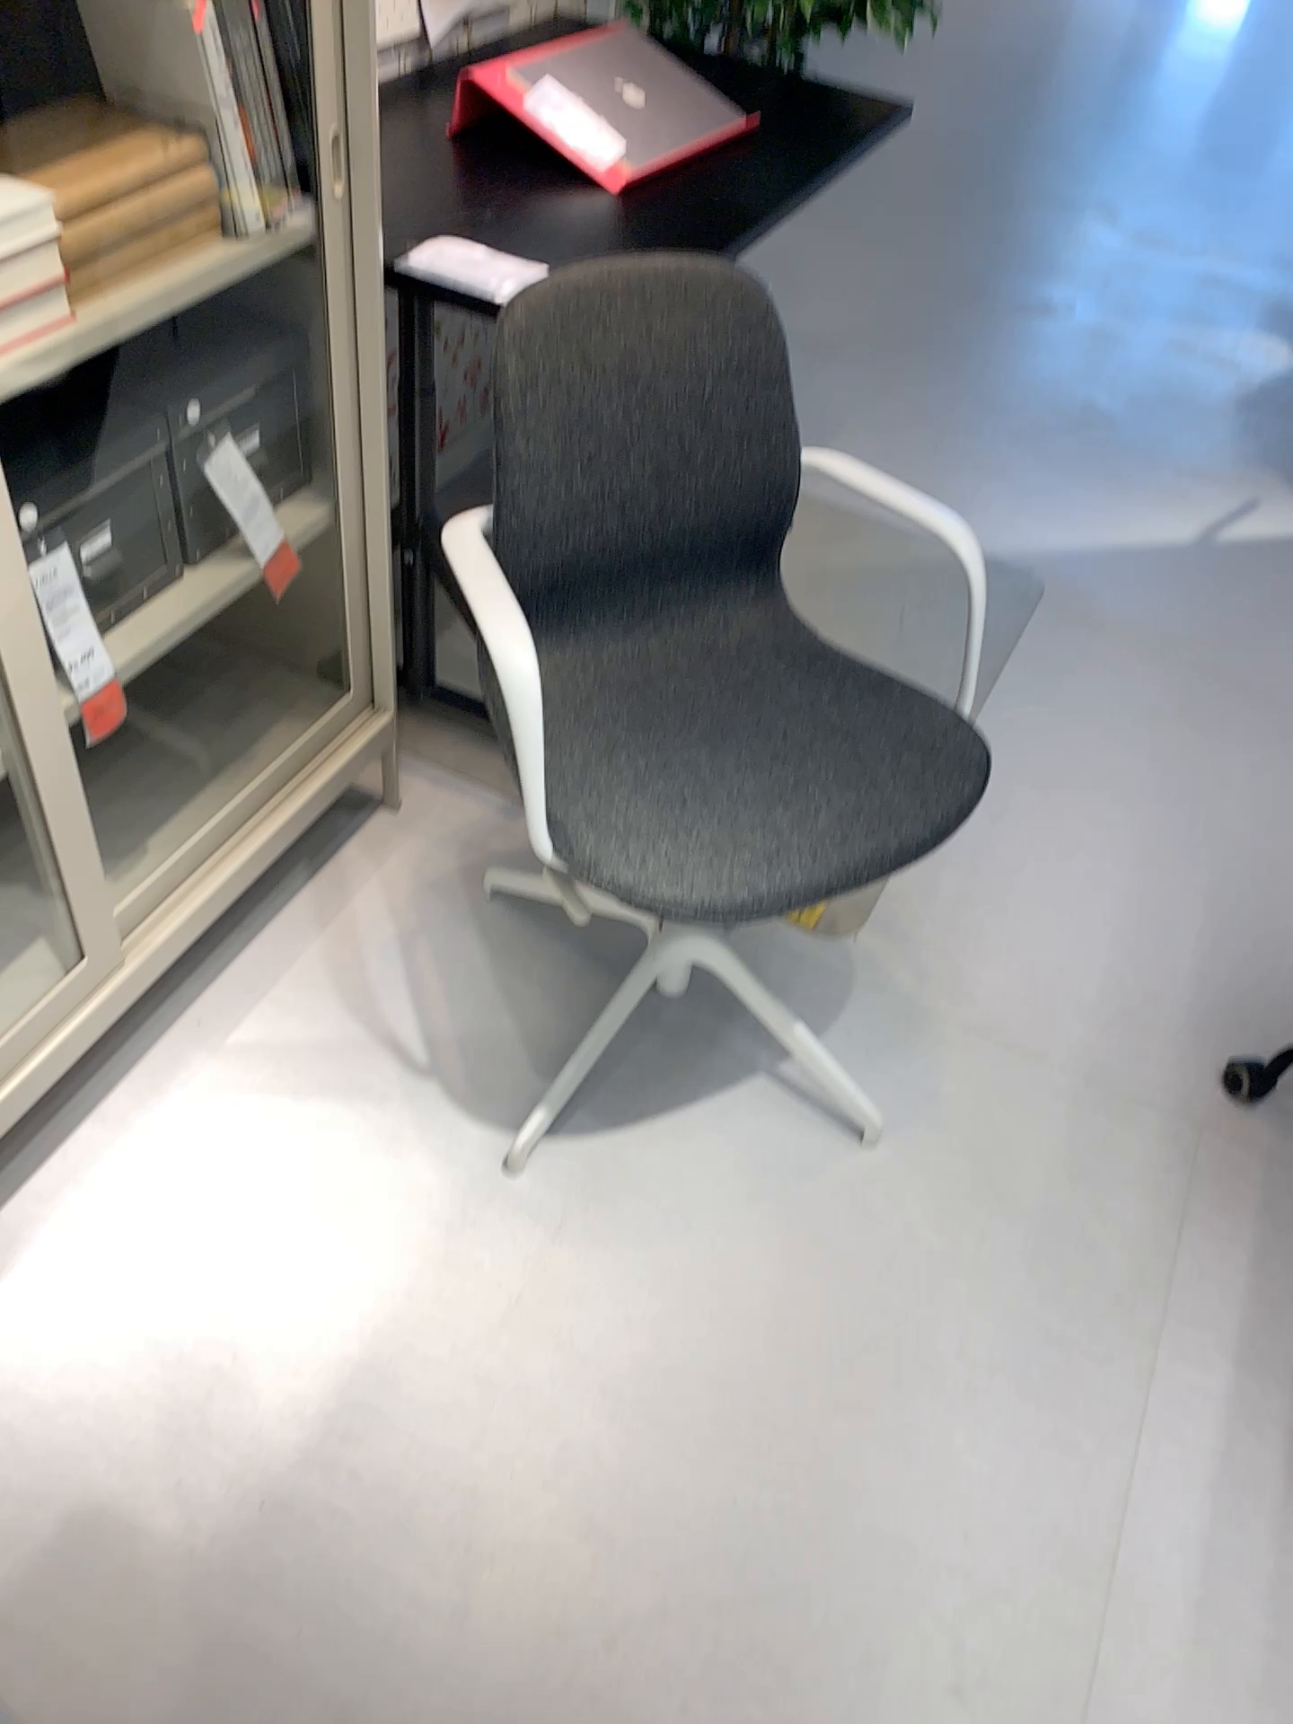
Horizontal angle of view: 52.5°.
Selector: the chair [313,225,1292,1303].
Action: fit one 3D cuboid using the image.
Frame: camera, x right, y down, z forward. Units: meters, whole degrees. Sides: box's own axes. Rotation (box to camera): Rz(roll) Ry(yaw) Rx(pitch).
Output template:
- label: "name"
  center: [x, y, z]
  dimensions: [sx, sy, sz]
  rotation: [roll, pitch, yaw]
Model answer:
- label: "chair"
  center: [0.077, -0.117, 1.443]
  dimensions: [0.621, 0.837, 0.642]
  rotation: [-19, 51, -26]
